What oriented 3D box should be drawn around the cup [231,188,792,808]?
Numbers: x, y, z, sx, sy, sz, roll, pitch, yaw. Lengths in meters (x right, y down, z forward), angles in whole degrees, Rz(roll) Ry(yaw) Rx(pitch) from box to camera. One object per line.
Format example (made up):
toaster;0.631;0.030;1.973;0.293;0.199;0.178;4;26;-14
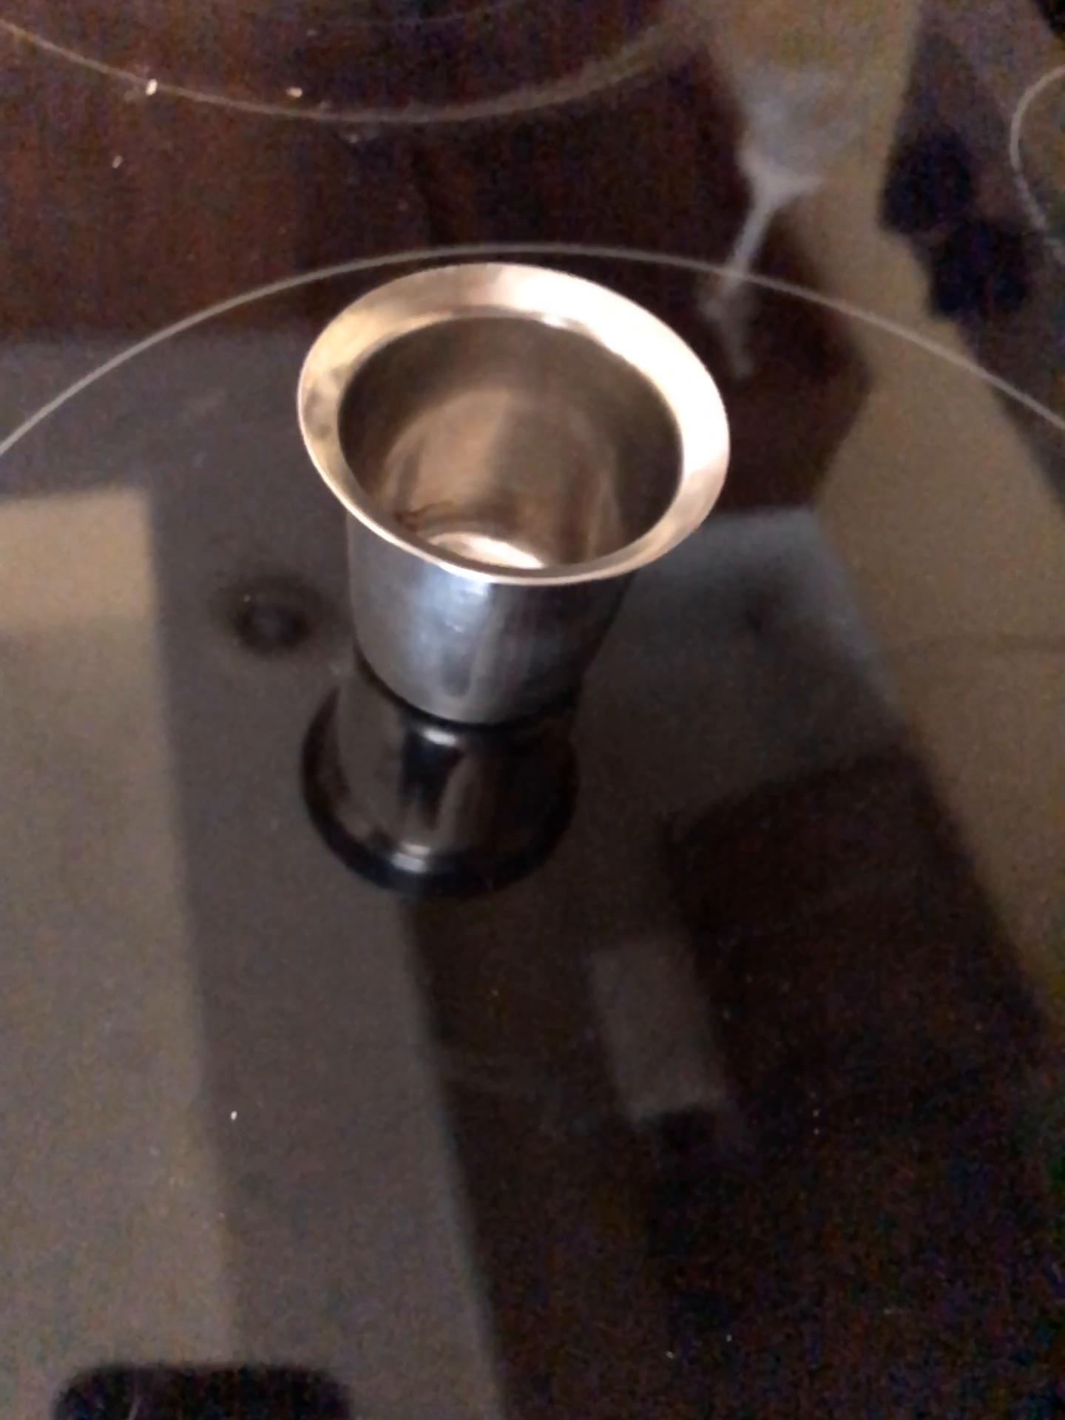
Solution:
cup;-0.003;-0.032;0.195;0.073;0.056;0.066;5;58;-8
